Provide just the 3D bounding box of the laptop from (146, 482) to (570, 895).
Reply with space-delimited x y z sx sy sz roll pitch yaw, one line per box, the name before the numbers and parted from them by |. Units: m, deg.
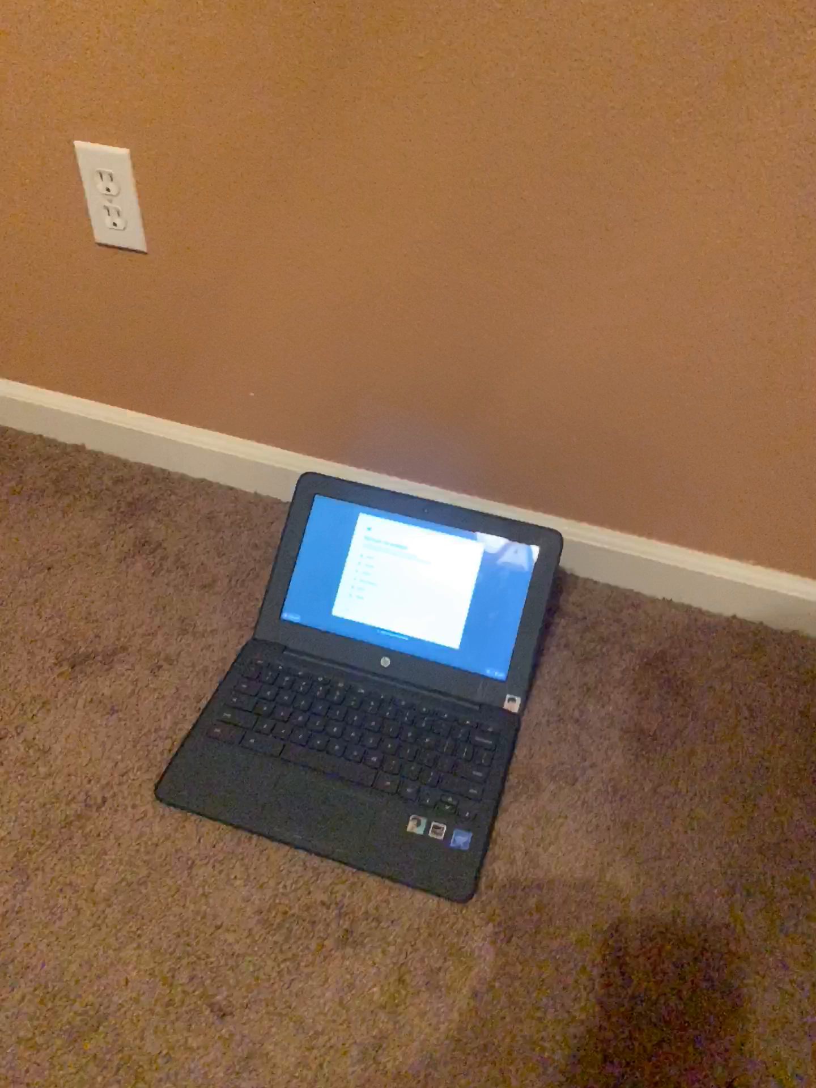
laptop | -0.026 0.113 0.812 0.288 0.124 0.333 14 42 13
